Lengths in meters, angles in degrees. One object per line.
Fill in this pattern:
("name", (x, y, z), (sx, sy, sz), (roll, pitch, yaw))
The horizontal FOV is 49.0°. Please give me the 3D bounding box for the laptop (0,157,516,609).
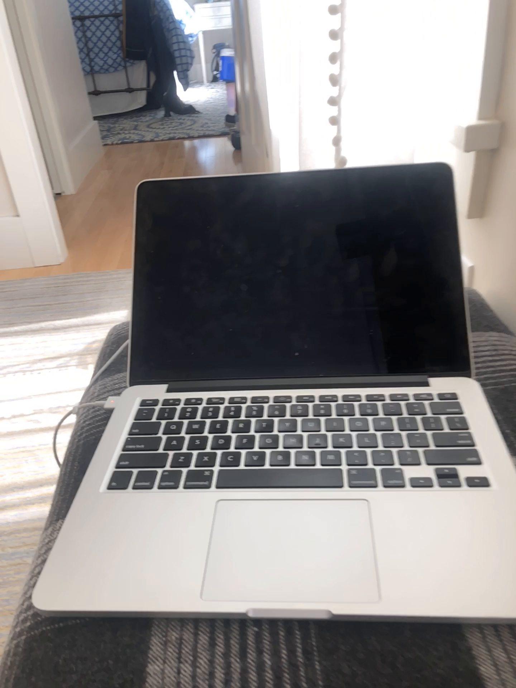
("laptop", (0.026, -0.012, 0.437), (0.306, 0.142, 0.369), (-2, 32, 6))
